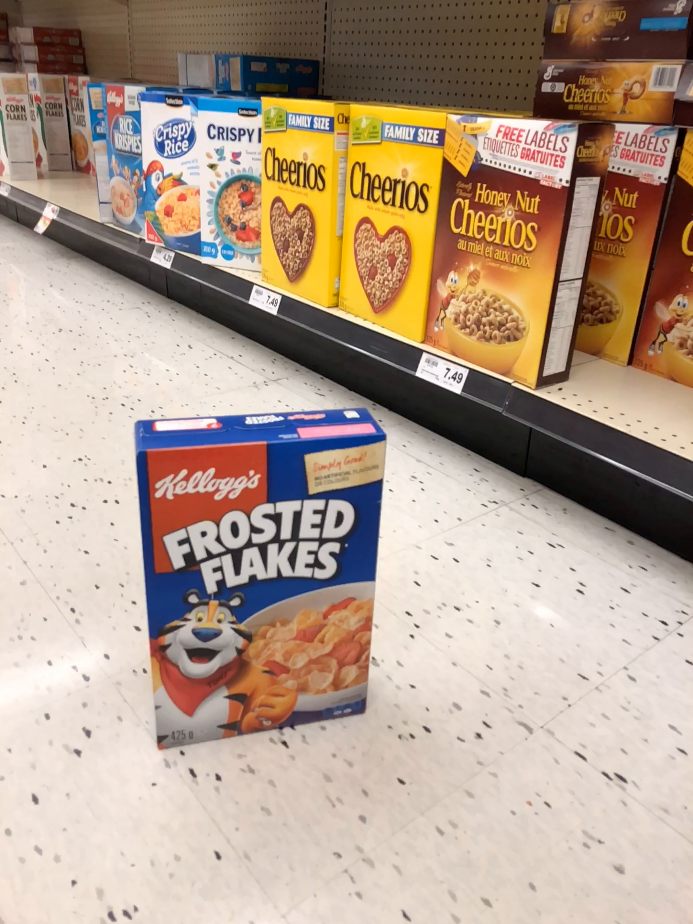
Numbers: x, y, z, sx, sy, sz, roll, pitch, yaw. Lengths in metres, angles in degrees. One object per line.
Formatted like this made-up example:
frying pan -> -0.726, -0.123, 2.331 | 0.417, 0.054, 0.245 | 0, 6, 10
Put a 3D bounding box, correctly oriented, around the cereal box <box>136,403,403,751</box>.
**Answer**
cereal box -> -0.070, 0.102, 0.658 | 0.200, 0.288, 0.070 | -4, 27, -16
